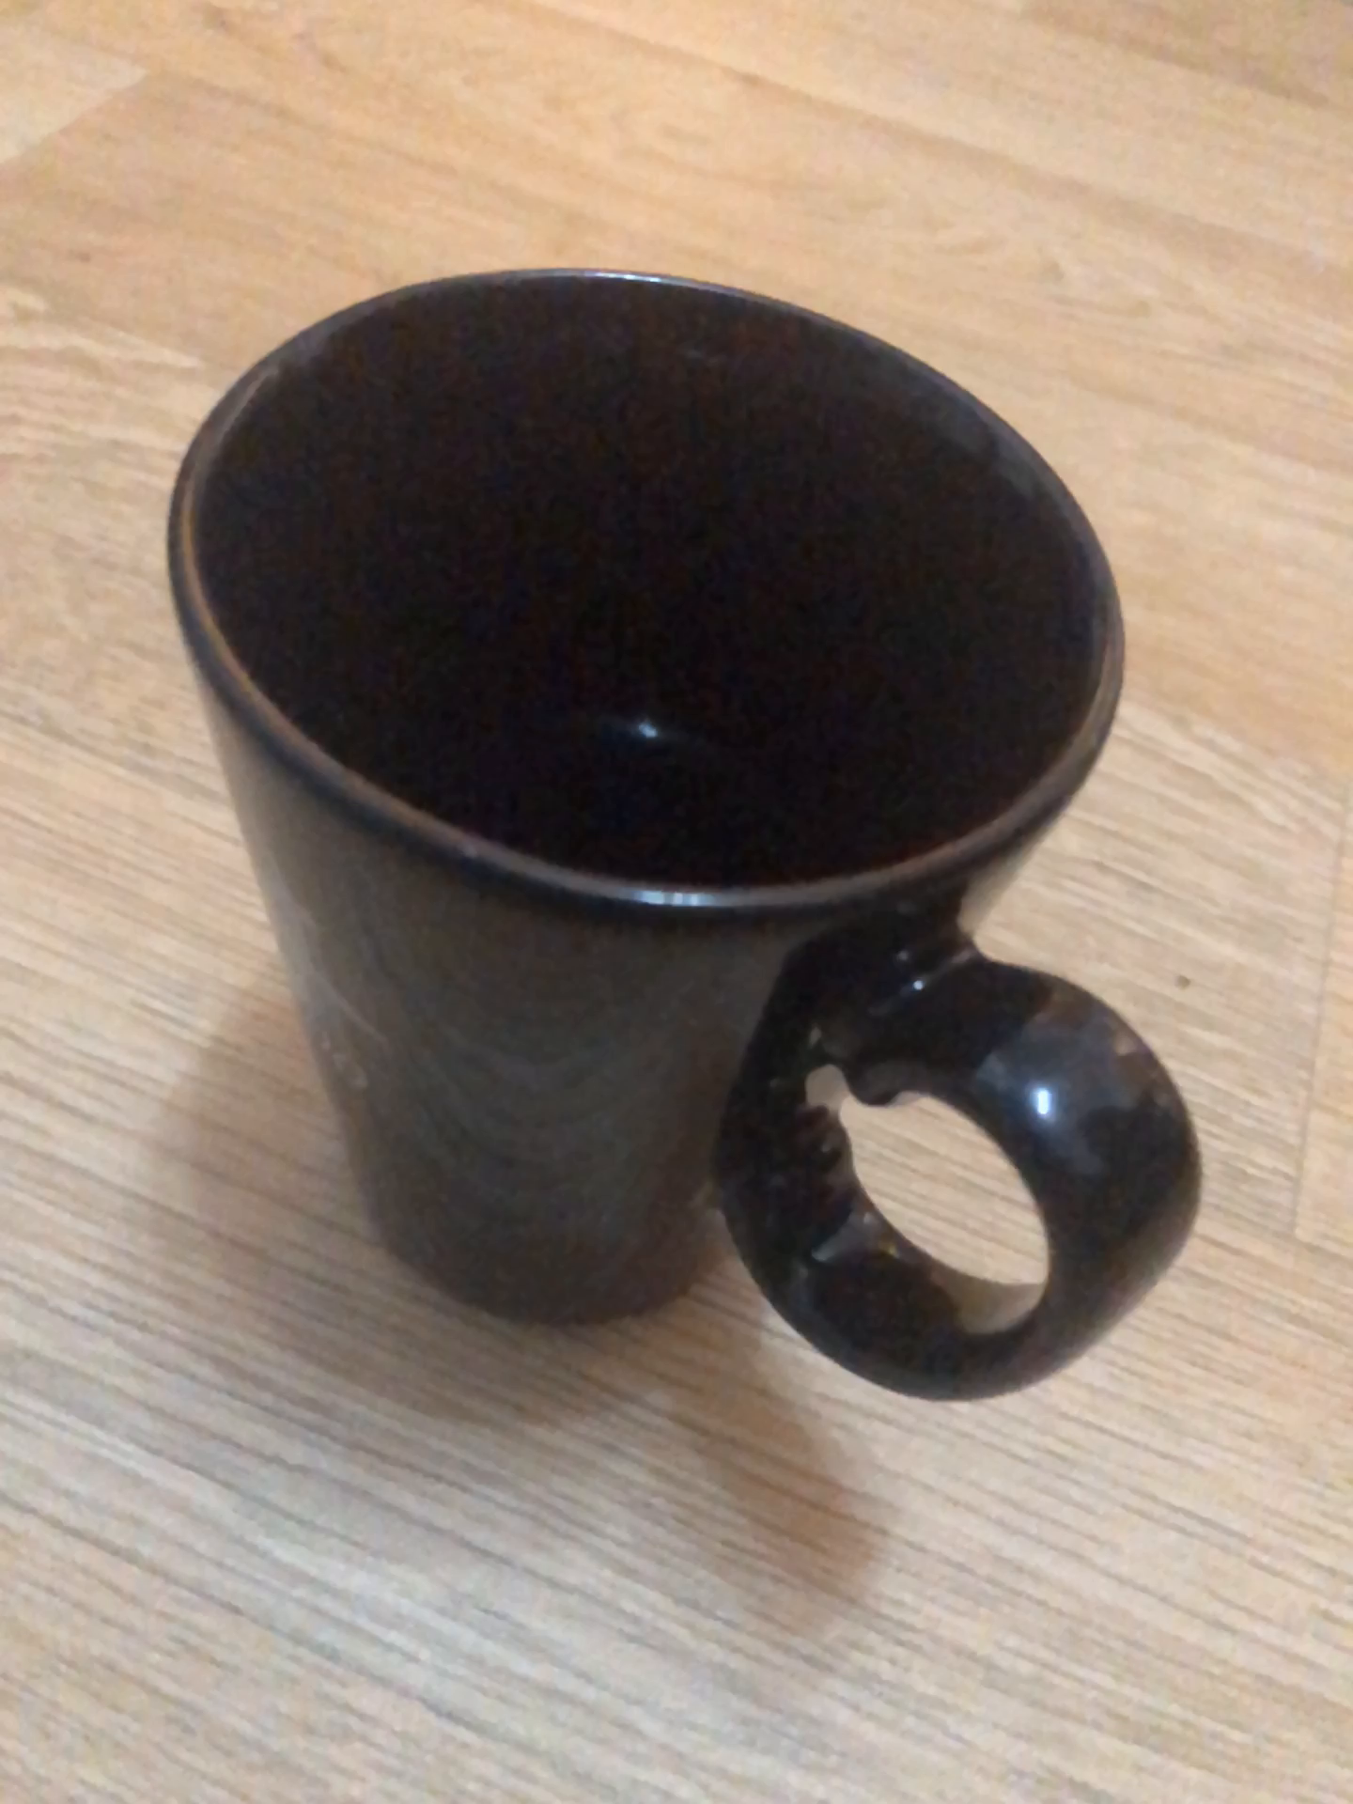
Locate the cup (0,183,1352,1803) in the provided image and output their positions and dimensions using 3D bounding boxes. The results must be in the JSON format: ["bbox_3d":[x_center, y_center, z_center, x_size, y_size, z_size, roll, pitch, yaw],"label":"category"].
[{"bbox_3d":[0.006,0.004,0.161,0.090,0.089,0.120,-27,61,-28],"label":"cup"}]
